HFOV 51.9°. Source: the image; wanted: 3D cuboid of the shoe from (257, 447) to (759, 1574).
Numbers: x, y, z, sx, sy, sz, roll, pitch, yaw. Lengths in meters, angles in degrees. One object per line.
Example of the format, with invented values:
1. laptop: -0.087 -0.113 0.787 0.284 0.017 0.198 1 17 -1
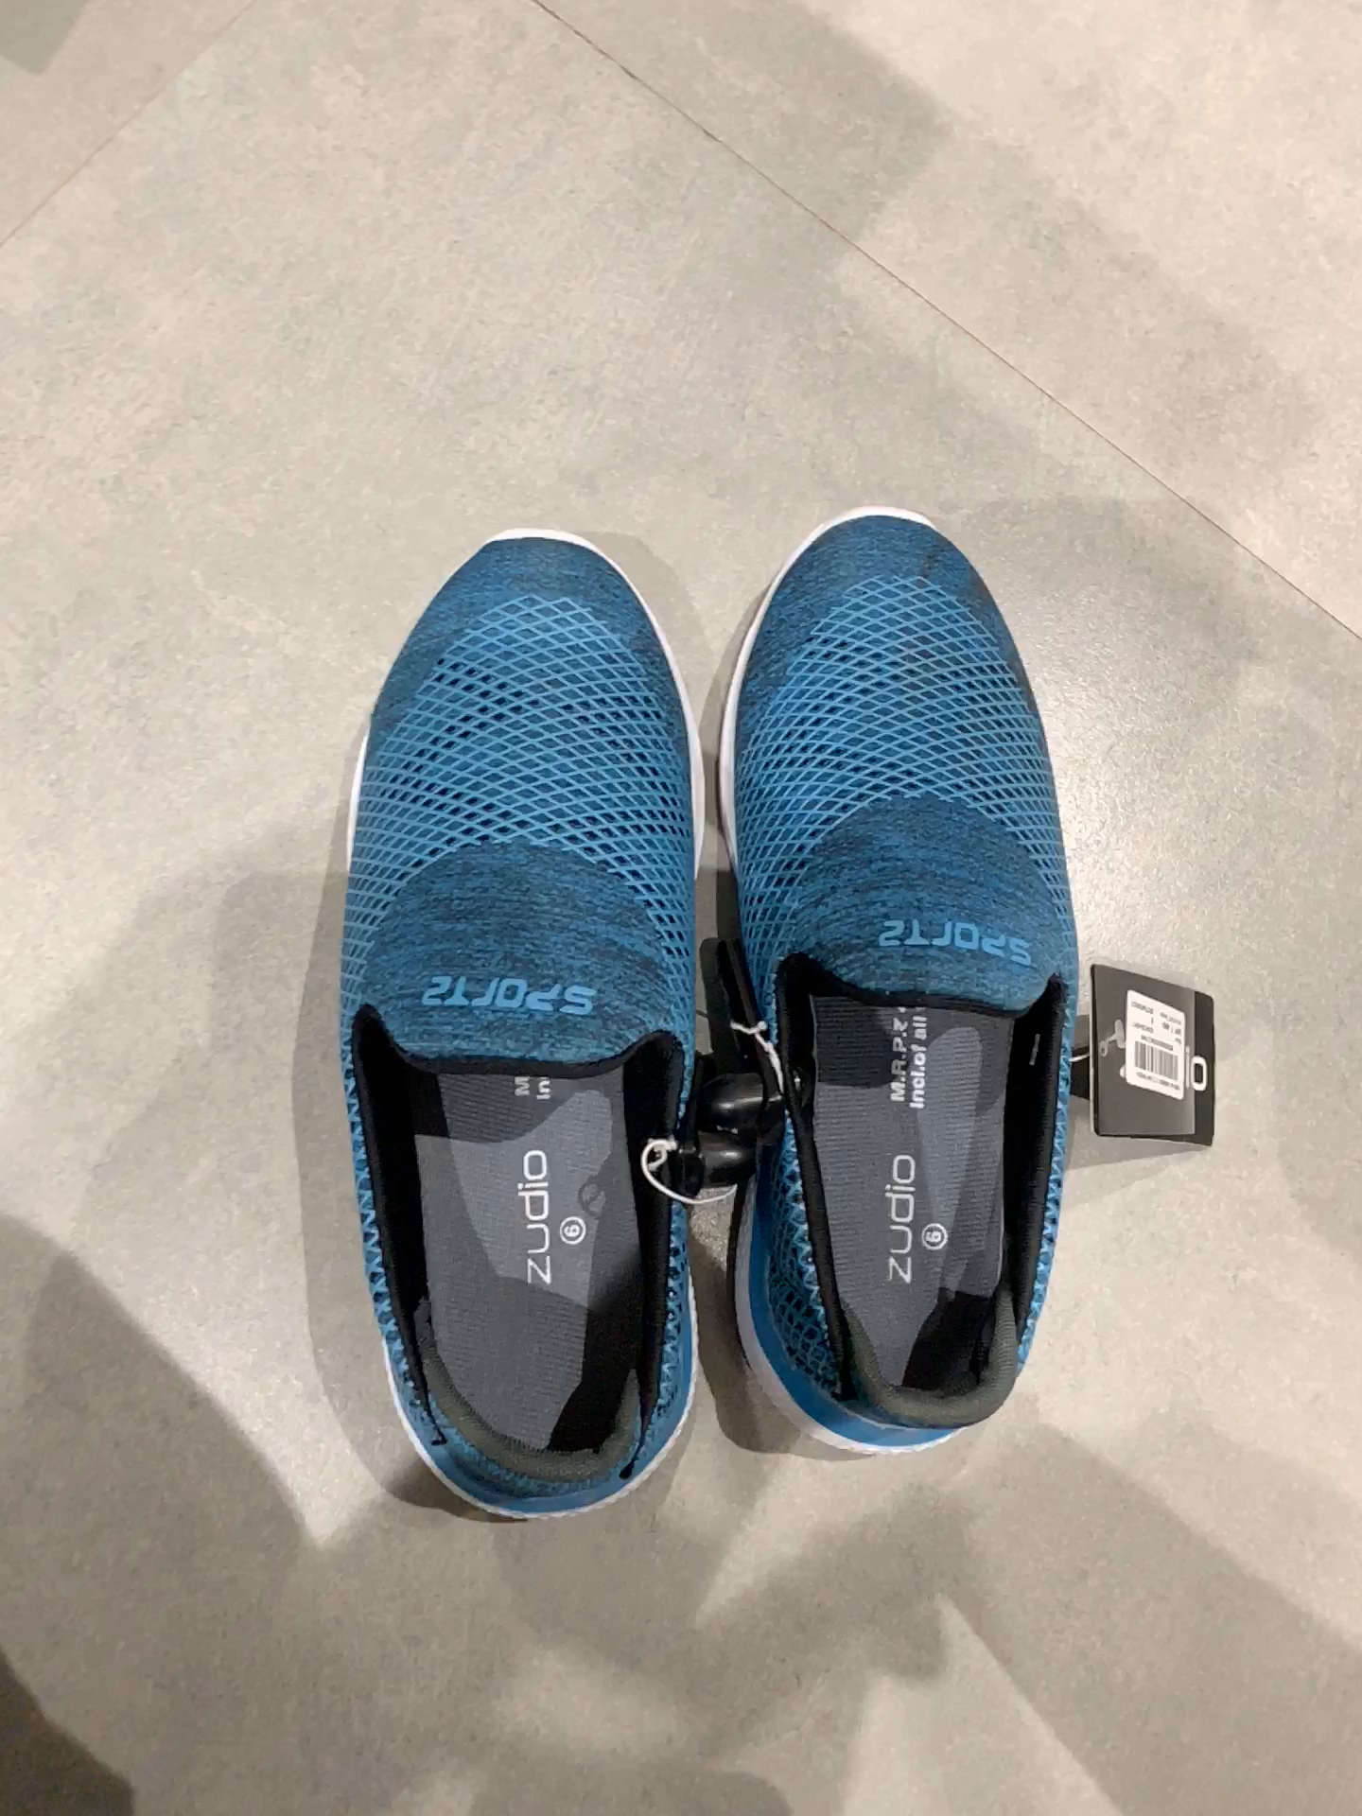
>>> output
1. shoe: -0.045 0.021 0.367 0.110 0.080 0.260 -1 81 -5

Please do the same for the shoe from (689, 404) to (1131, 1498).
1. shoe: 0.055 0.010 0.362 0.090 0.080 0.250 3 81 -5
